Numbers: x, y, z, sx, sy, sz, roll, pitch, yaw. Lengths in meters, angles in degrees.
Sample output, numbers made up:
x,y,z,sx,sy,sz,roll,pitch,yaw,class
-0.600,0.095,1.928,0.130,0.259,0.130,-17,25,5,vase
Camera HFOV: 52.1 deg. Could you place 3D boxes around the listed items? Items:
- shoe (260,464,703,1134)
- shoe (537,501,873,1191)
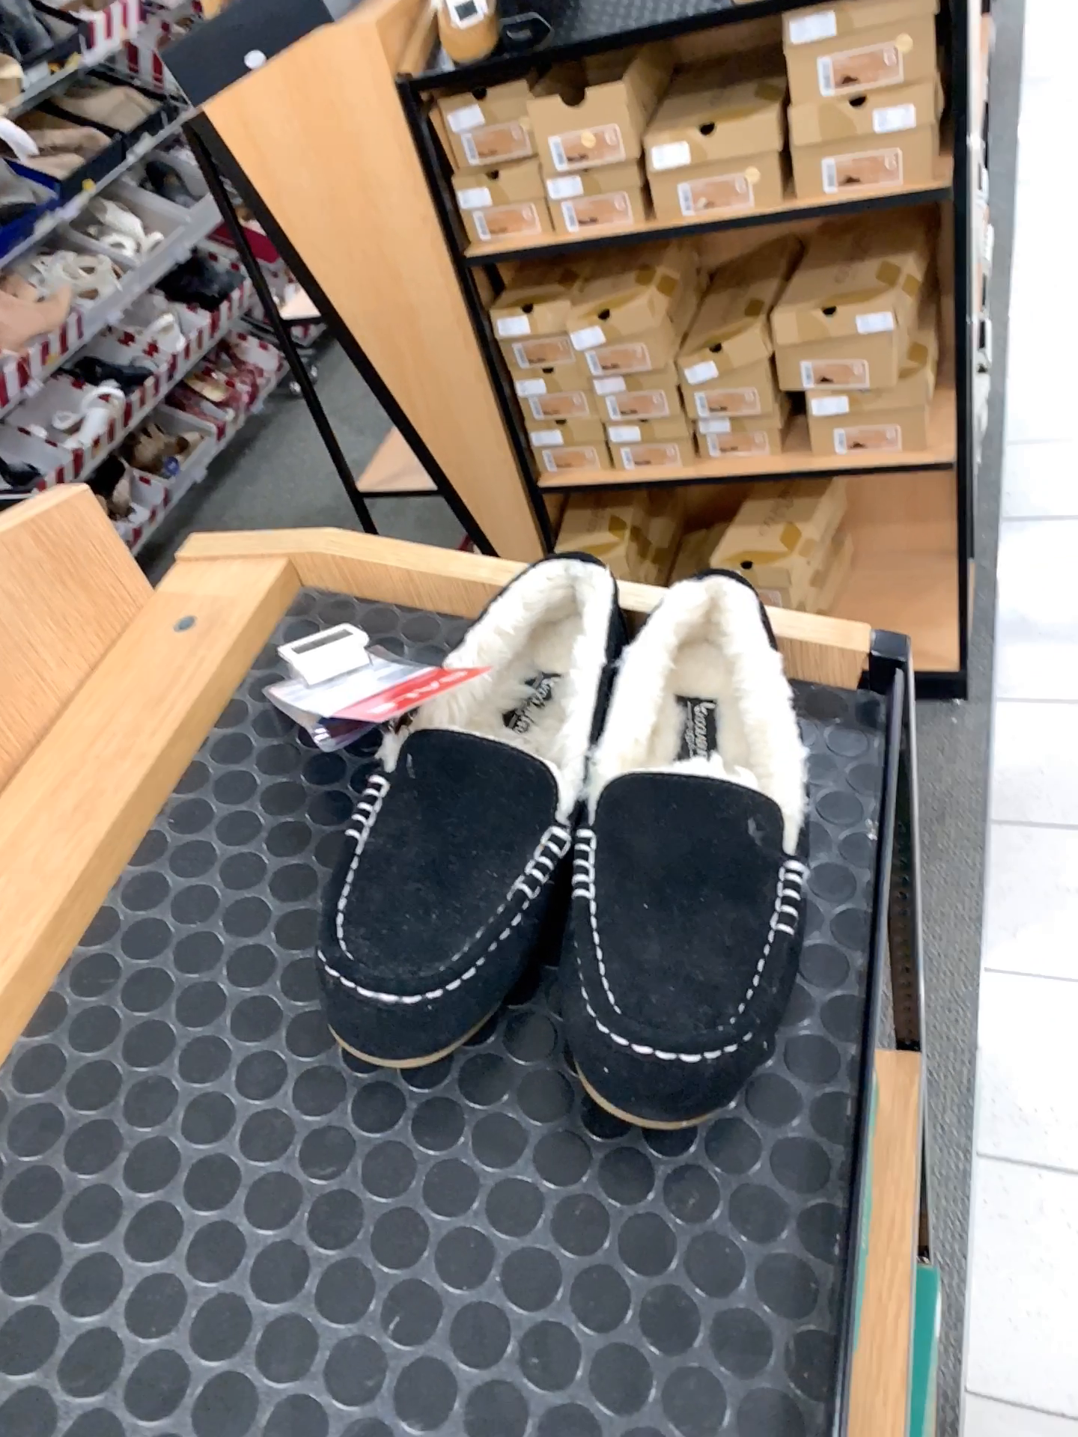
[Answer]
x,y,z,sx,sy,sz,roll,pitch,yaw,class
-0.010,0.017,0.443,0.086,0.090,0.251,16,51,7,shoe
0.072,0.034,0.433,0.086,0.090,0.251,13,49,4,shoe
